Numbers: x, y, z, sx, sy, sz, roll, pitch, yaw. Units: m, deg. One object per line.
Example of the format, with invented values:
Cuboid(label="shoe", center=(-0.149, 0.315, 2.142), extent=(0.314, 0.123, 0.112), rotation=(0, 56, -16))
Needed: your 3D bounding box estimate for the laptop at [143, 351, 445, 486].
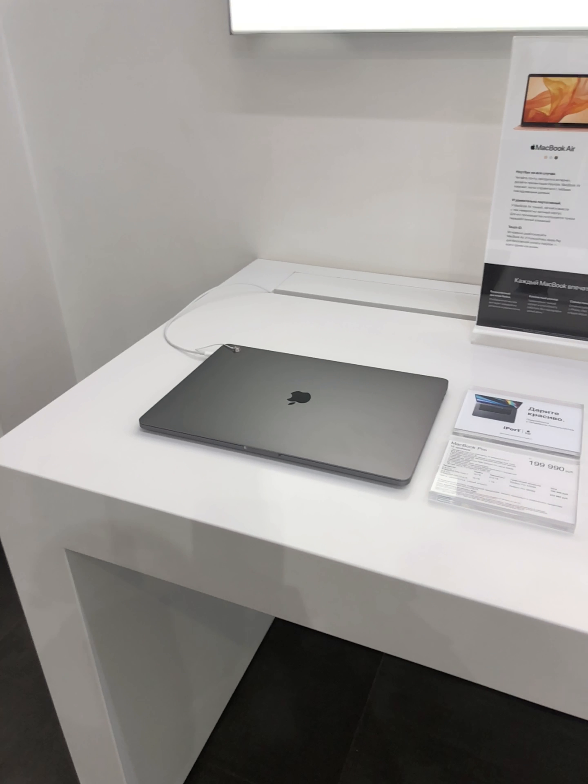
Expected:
Cuboid(label="laptop", center=(0.008, 0.020, 0.863), extent=(0.344, 0.003, 0.232), rotation=(10, 32, 20))
